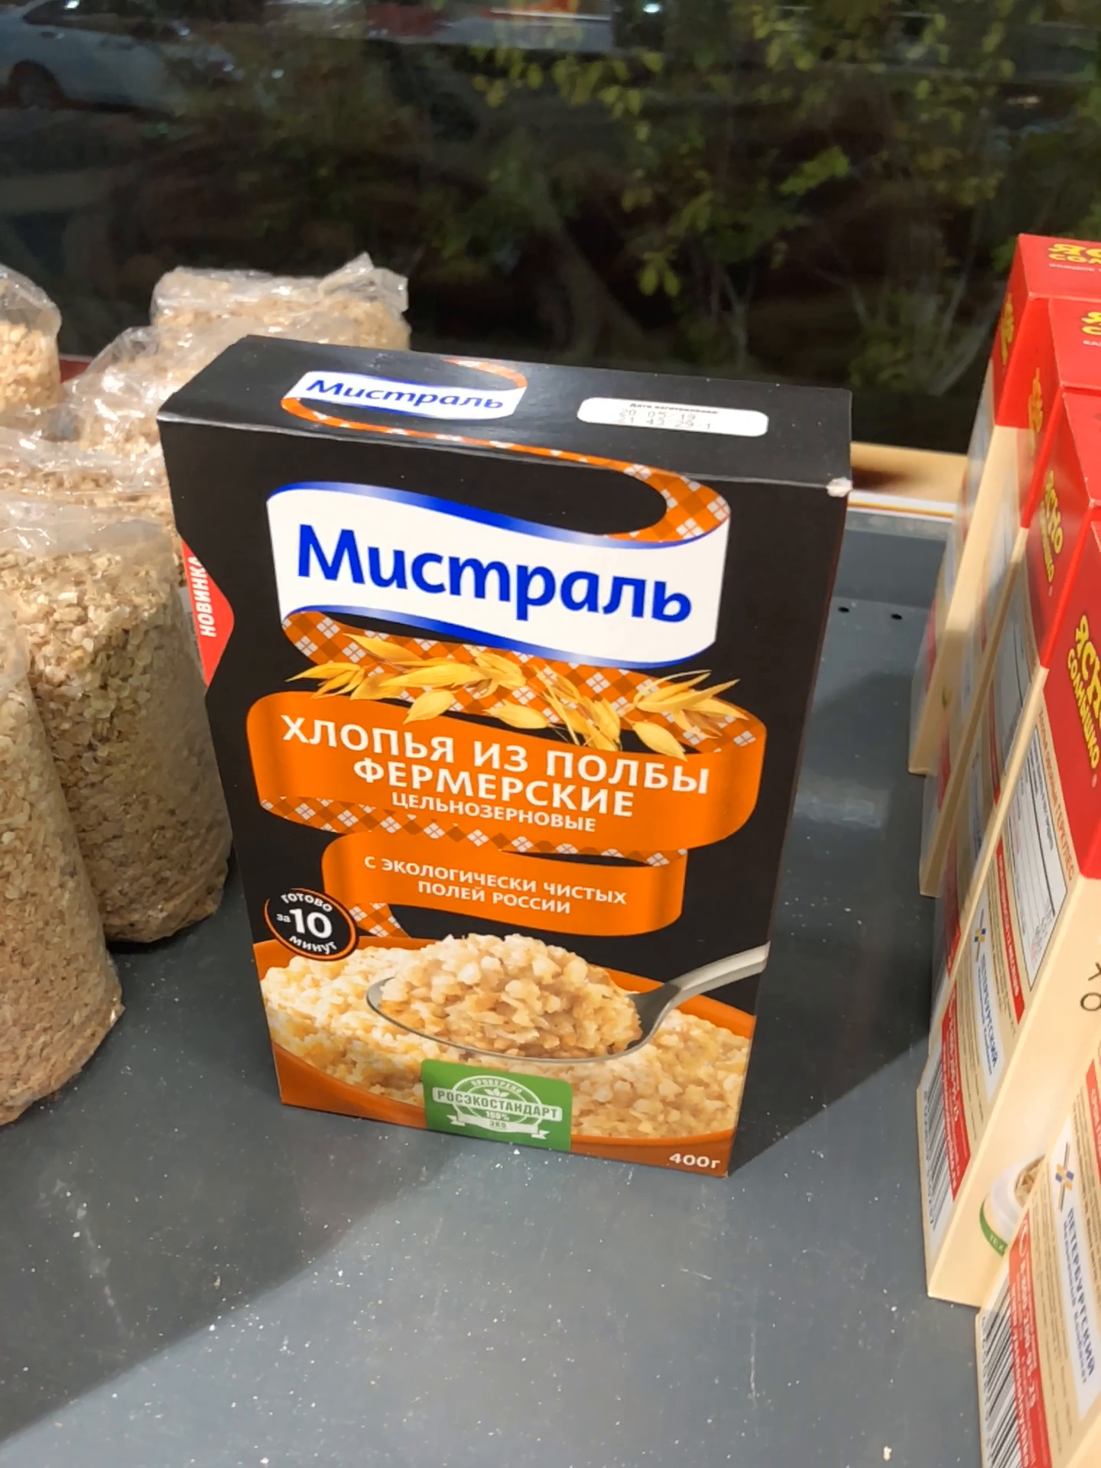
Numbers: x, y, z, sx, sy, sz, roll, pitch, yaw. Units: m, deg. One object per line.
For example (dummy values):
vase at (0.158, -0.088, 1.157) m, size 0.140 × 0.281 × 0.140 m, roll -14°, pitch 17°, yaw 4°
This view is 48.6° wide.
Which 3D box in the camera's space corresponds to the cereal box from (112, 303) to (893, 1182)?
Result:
cereal box at (-0.009, 0.014, 0.296) m, size 0.140 × 0.209 × 0.050 m, roll 7°, pitch 37°, yaw 8°
